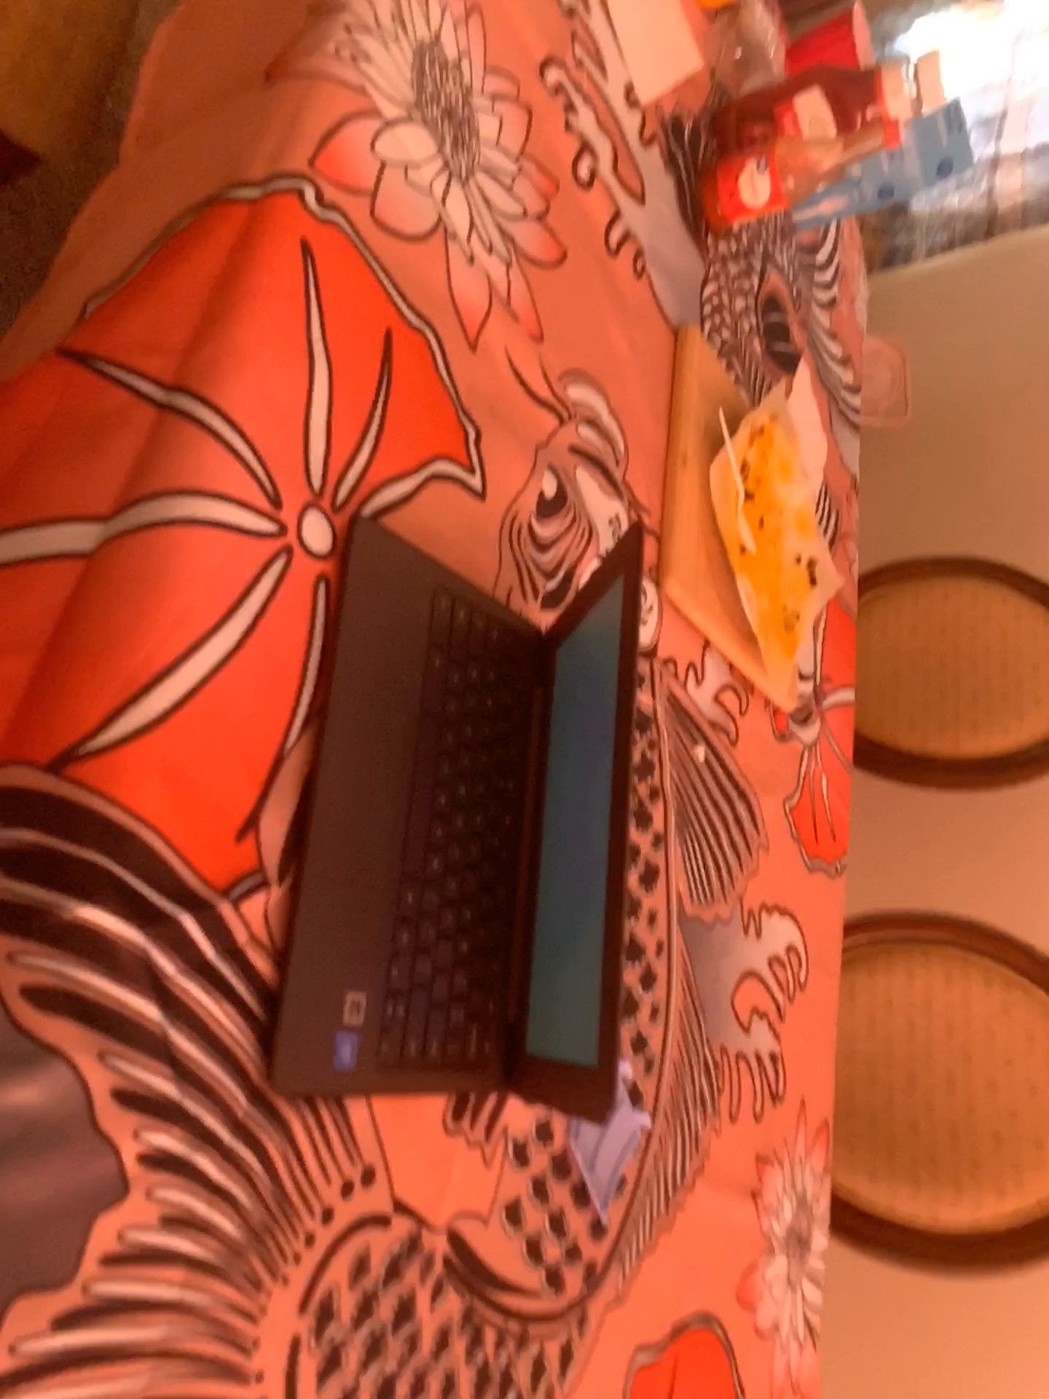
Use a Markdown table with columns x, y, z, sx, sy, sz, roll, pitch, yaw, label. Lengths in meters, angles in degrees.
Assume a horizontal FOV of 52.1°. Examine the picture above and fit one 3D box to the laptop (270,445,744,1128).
| x | y | z | sx | sy | sz | roll | pitch | yaw | label |
| --- | --- | --- | --- | --- | --- | --- | --- | --- | --- |
| 0.011 | 0.062 | 0.583 | 0.212 | 0.144 | 0.299 | 30 | 60 | -54 | laptop |
